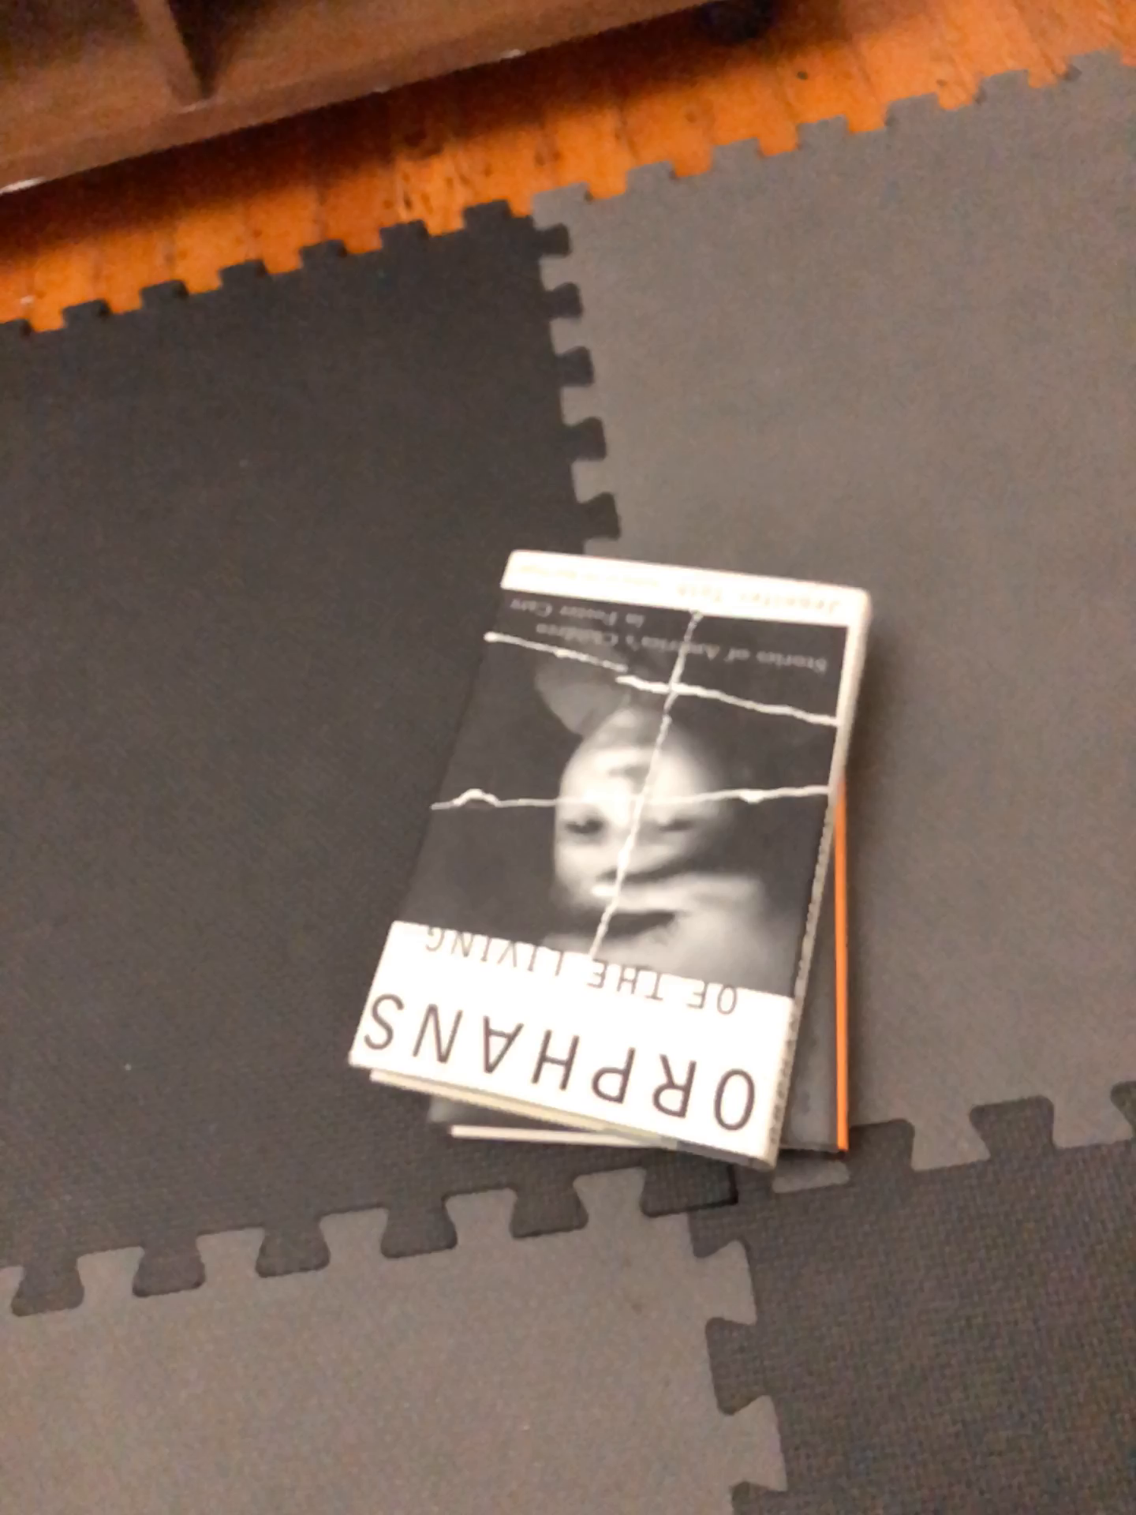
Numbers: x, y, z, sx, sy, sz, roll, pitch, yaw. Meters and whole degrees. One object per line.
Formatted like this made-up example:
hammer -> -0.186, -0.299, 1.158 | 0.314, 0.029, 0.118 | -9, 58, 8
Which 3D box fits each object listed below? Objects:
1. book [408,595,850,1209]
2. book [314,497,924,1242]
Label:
book -> 0.030, 0.049, 0.524 | 0.160, 0.030, 0.251 | -2, 62, 12
book -> 0.031, 0.024, 0.504 | 0.180, 0.030, 0.281 | 8, 64, 16
